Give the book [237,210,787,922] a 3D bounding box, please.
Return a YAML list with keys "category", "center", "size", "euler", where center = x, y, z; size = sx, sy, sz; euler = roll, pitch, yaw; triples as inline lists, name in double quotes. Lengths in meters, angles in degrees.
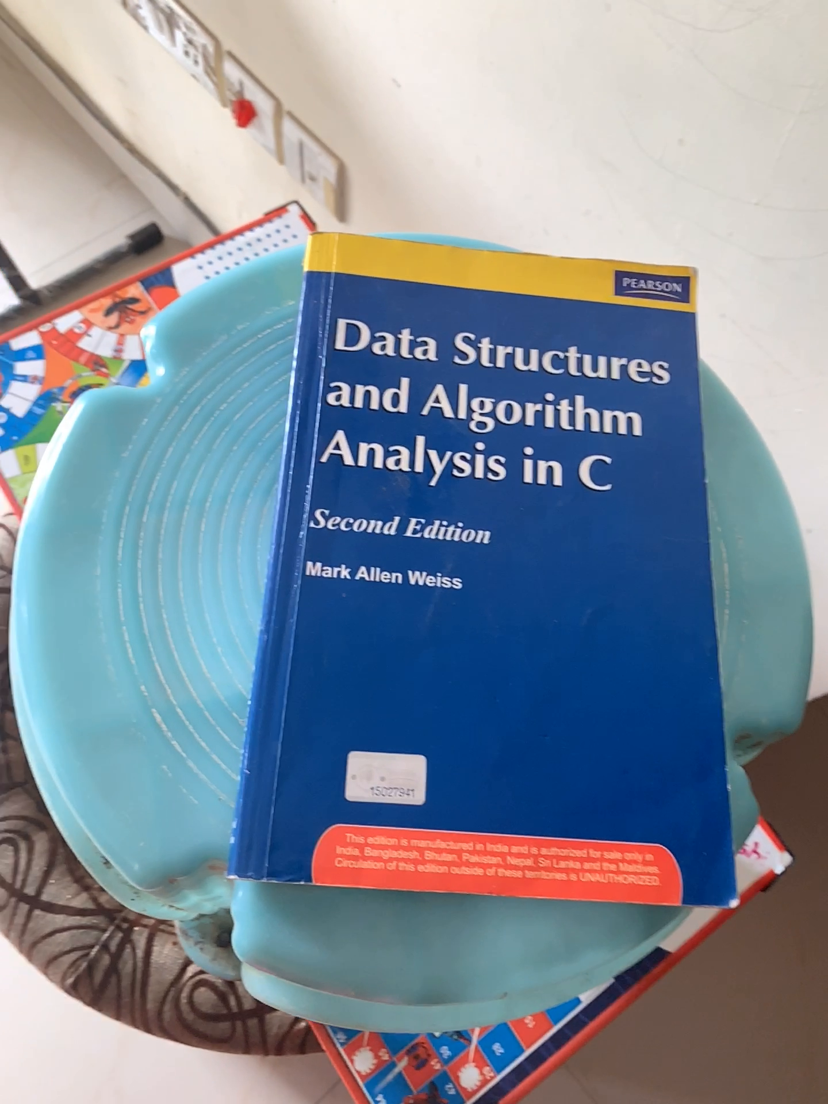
- category: "book"
  center: [0.035, -0.005, 0.301]
  size: [0.160, 0.030, 0.241]
  euler: [4, 70, -4]
